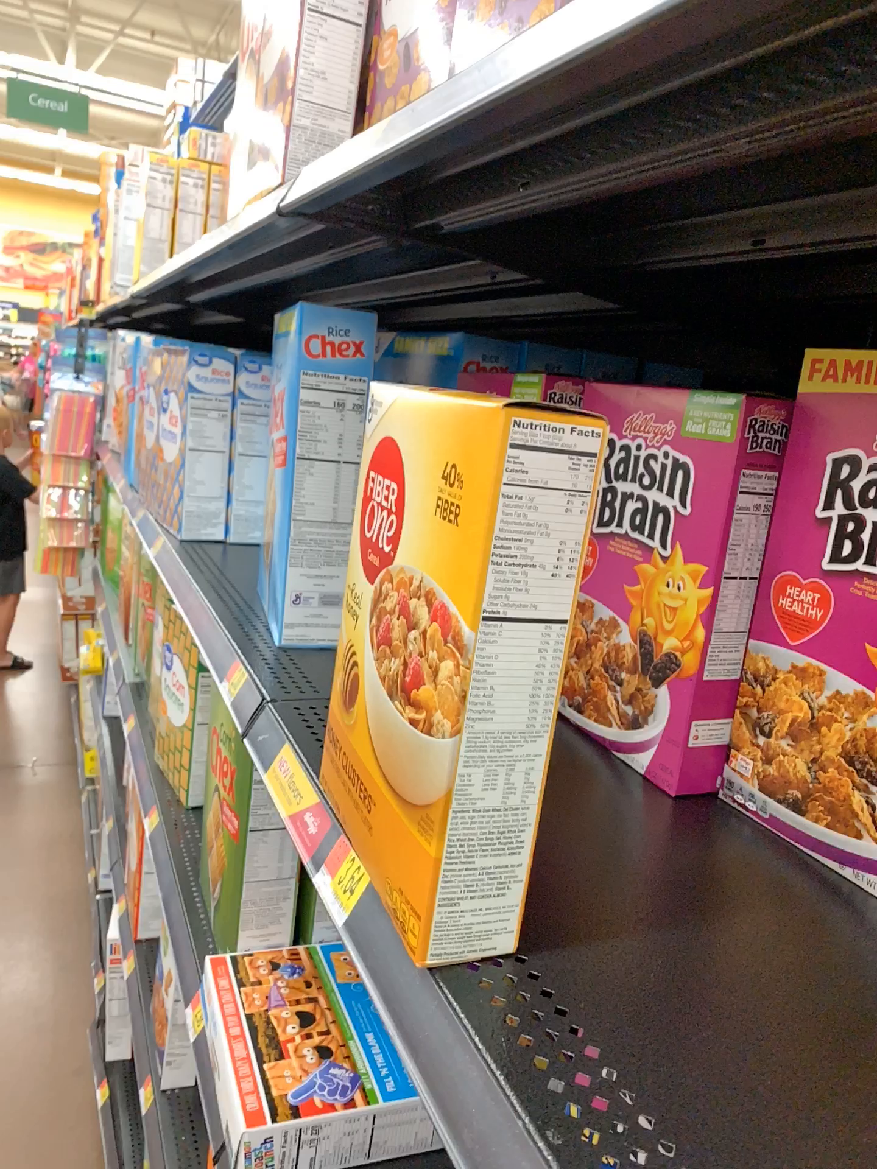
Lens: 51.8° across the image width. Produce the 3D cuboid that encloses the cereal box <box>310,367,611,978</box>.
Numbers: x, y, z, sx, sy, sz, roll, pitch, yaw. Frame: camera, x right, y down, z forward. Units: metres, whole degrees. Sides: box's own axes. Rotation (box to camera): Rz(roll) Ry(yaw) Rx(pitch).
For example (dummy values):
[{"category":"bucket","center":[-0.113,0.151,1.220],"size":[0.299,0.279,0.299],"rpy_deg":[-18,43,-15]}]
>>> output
[{"category":"cereal box","center":[-0.006,0.024,0.471],"size":[0.050,0.259,0.201],"rpy_deg":[3,12,-22]}]
